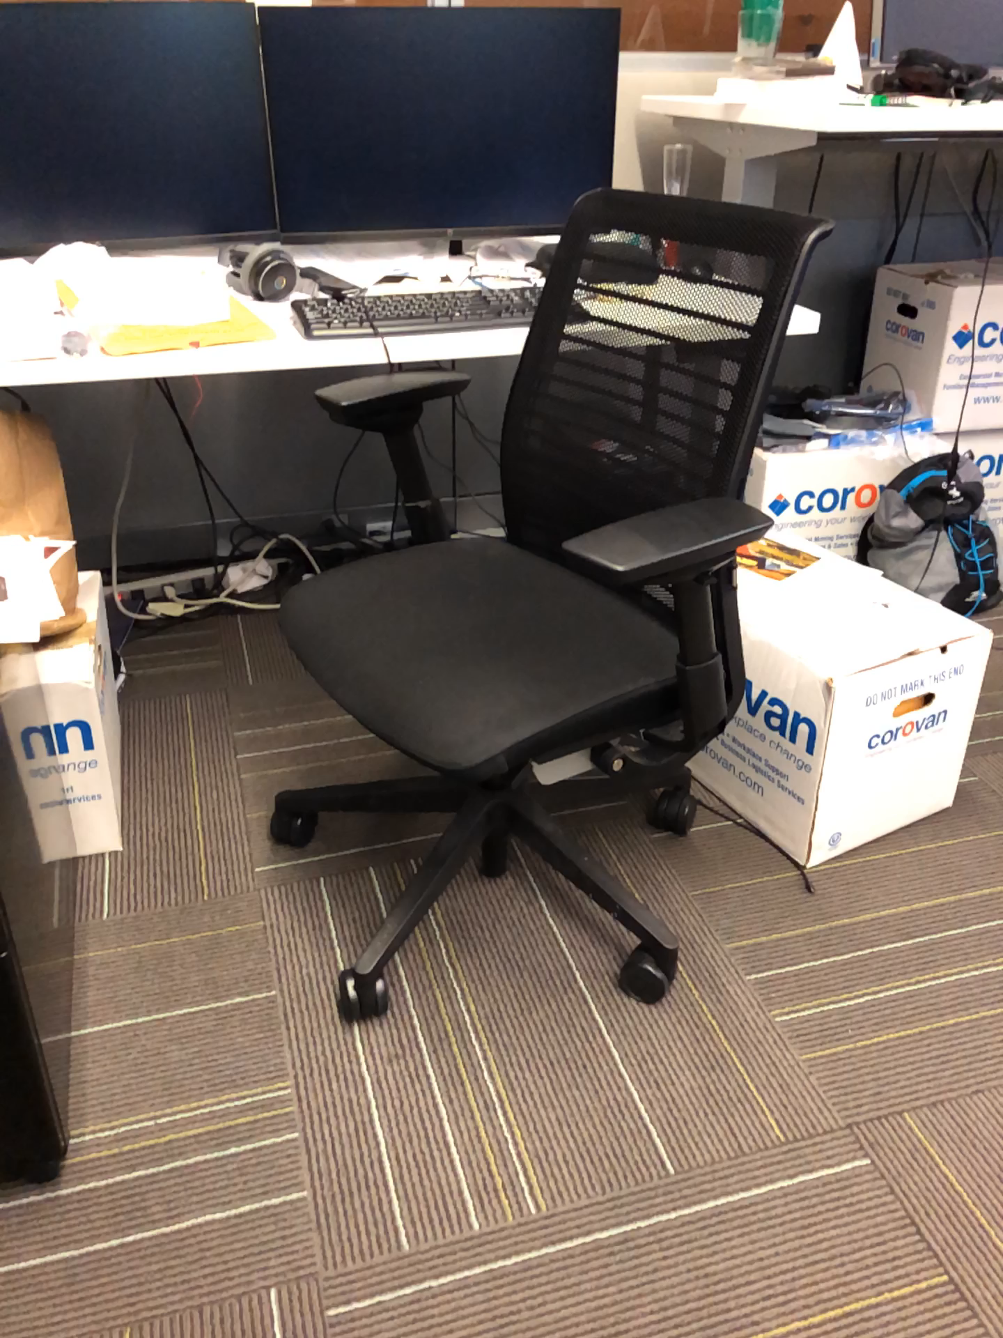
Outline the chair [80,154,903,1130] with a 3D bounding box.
[{"bbox_3d":[-0.040,-0.110,1.406,0.611,0.935,0.672,-20,35,-32],"label":"chair"}]
